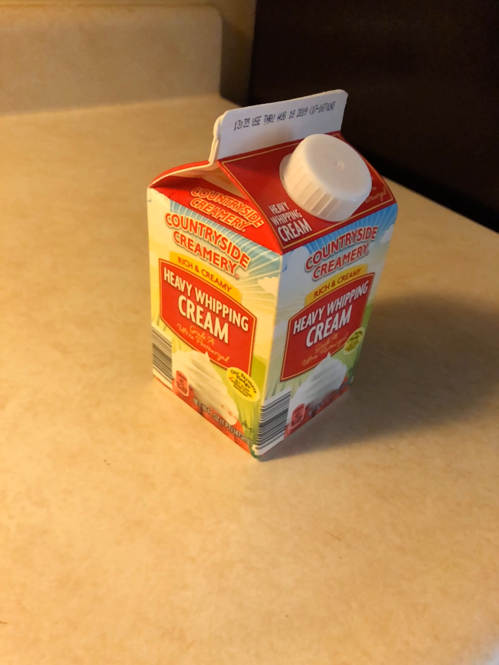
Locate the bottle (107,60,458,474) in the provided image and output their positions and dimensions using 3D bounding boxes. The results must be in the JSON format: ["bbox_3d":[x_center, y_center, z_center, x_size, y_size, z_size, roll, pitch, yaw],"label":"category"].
[{"bbox_3d":[0.008,-0.033,0.240,0.090,0.130,0.090,4,36,-3],"label":"bottle"}]
